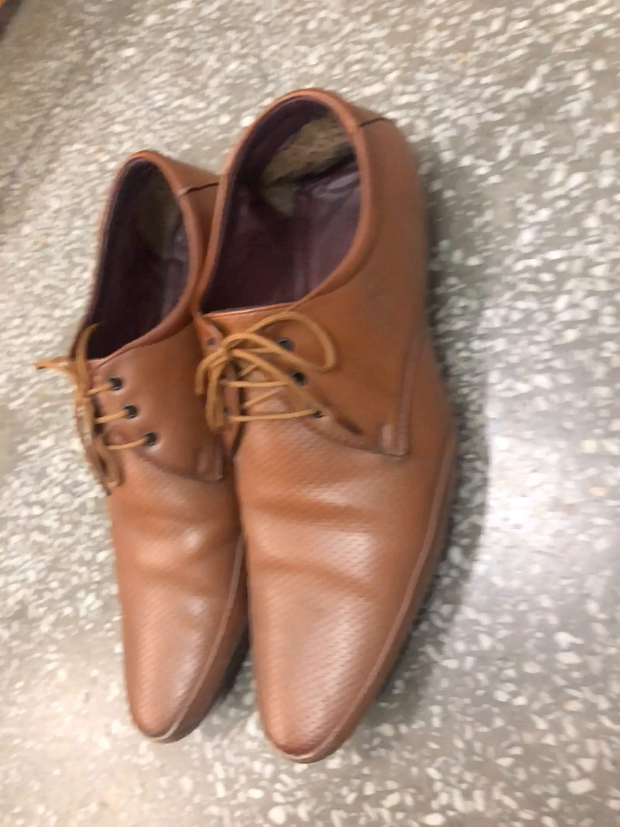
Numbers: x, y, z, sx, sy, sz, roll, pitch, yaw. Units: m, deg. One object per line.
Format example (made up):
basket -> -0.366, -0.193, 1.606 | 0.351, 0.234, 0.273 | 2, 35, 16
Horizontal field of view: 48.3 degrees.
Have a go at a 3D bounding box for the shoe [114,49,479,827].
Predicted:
shoe -> 0.005, 0.015, 0.315 | 0.106, 0.118, 0.284 | -4, 78, 33

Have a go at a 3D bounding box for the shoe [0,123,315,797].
shoe -> -0.079, 0.021, 0.368 | 0.106, 0.118, 0.284 | -4, 78, 33
